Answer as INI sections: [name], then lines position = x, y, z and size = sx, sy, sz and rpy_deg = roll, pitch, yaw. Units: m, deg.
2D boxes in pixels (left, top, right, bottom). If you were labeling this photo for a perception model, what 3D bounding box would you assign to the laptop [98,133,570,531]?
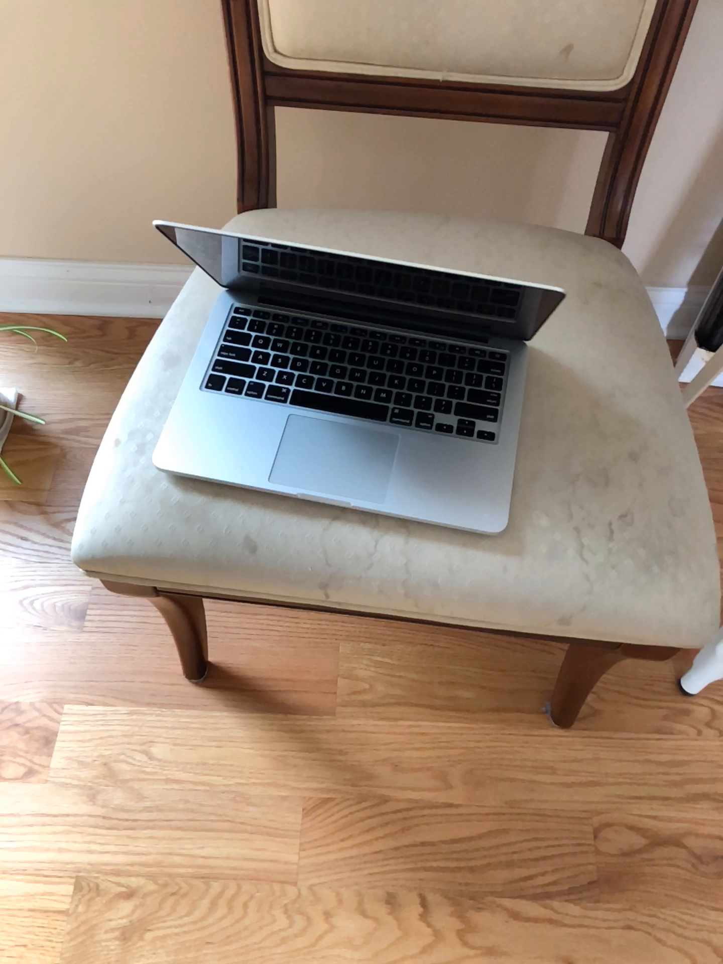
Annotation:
[laptop]
position = -0.008, -0.124, 0.662
size = 0.309, 0.183, 0.219
rpy_deg = 11, 58, 5
